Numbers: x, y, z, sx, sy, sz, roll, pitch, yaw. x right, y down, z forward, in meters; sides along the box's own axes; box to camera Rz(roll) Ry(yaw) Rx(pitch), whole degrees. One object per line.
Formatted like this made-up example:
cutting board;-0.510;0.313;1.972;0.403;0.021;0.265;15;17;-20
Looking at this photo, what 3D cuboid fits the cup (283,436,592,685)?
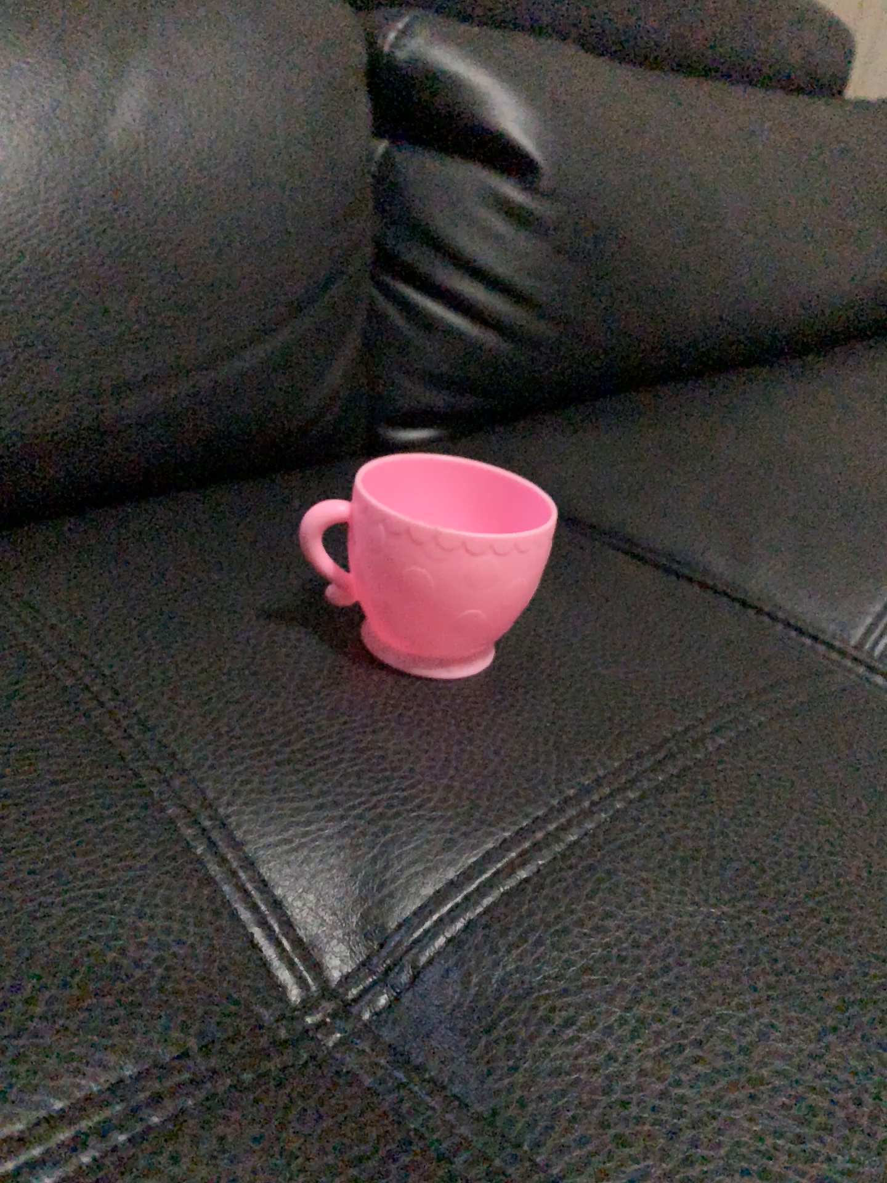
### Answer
cup;-0.006;-0.011;0.274;0.077;0.045;0.061;4;28;-10
